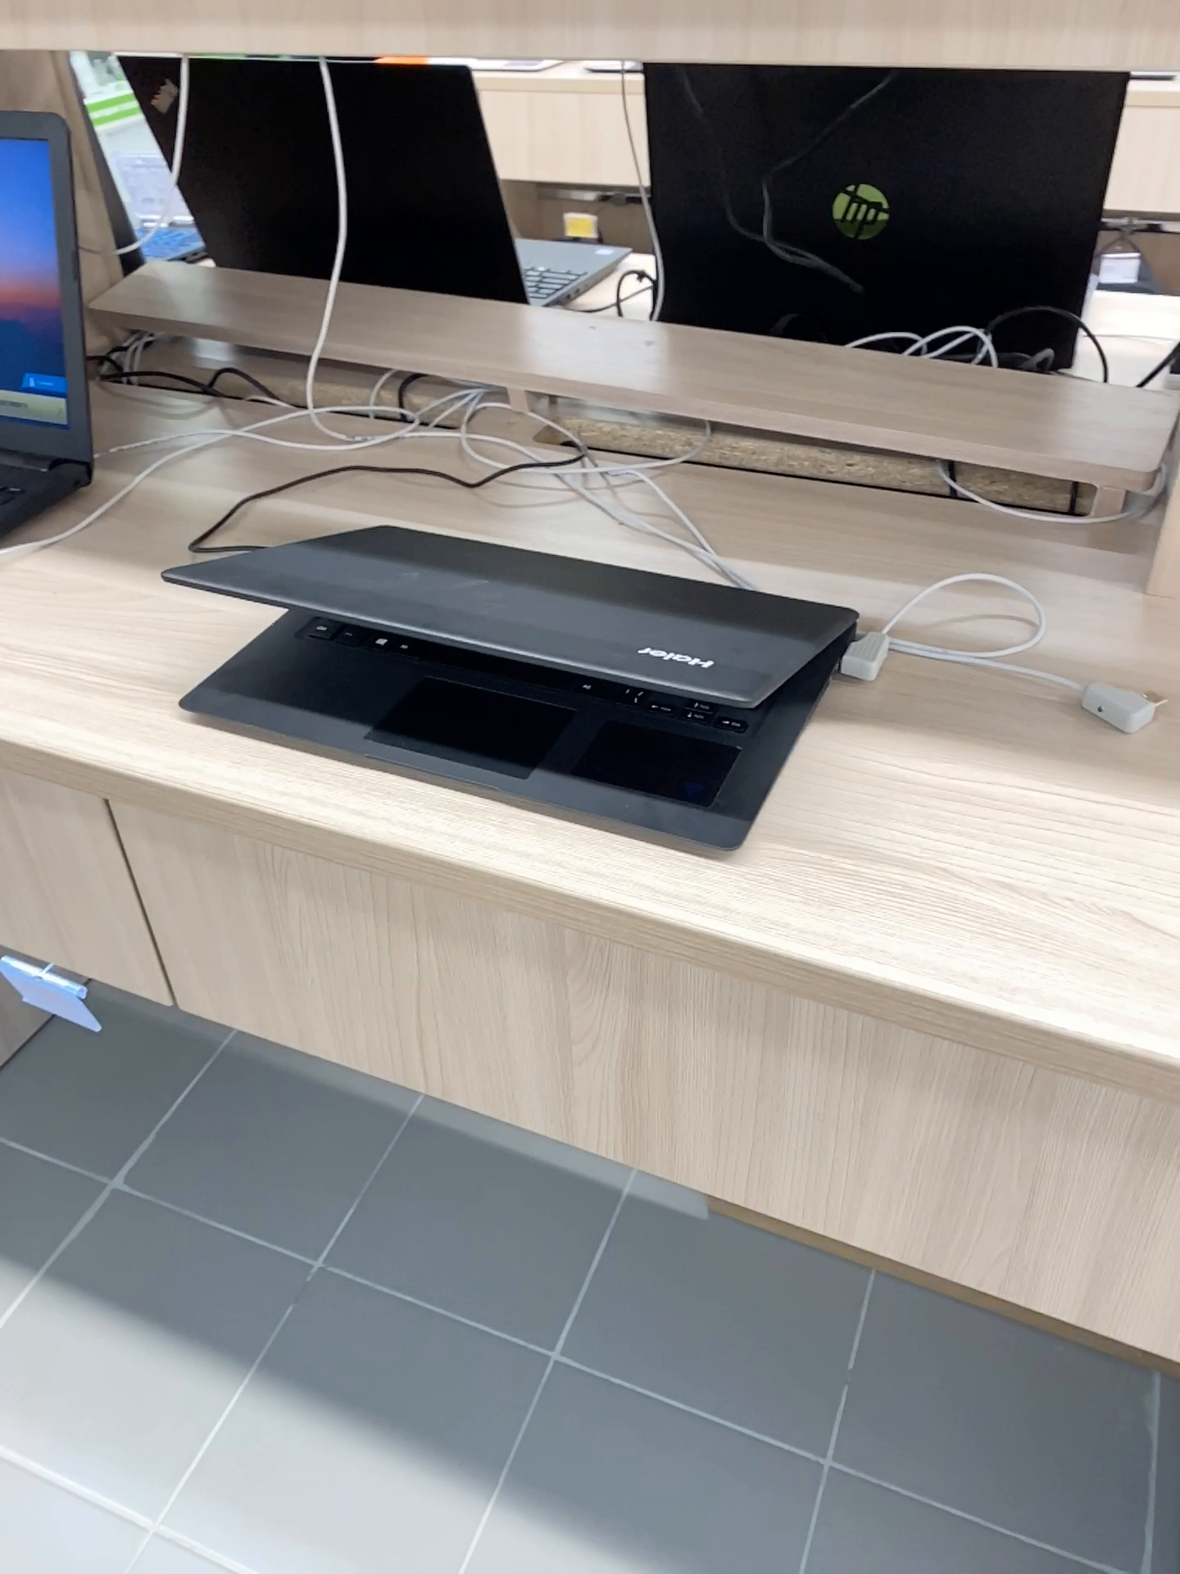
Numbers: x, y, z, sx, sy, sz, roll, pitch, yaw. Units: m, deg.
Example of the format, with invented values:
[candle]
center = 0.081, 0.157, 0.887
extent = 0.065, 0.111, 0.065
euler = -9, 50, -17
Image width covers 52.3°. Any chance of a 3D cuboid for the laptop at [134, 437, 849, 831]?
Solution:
[laptop]
center = -0.046, -0.101, 0.659
extent = 0.320, 0.071, 0.202
euler = 14, 41, 20
